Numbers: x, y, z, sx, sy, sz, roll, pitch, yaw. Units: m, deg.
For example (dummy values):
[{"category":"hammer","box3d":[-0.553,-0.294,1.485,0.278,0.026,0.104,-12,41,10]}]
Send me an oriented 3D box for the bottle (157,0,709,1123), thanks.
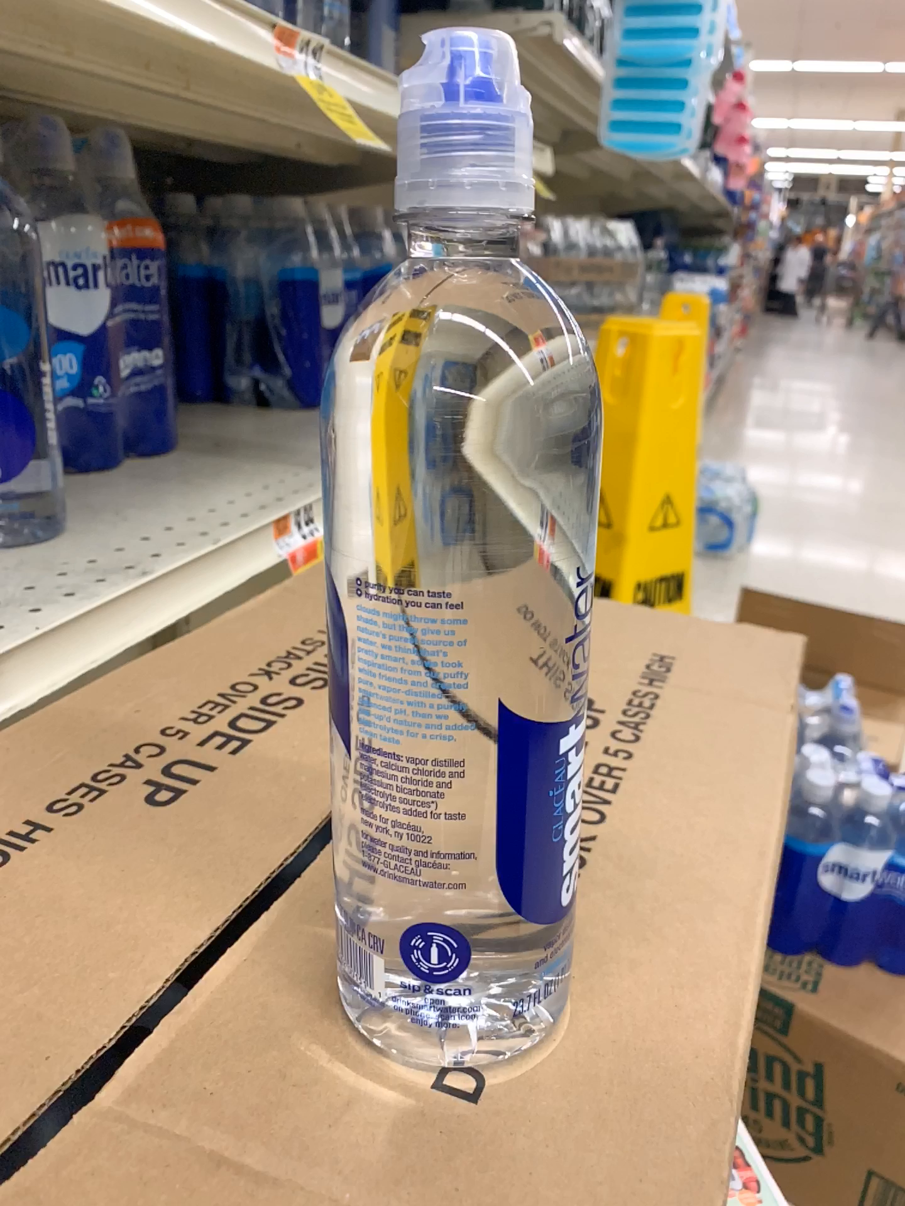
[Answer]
[{"category":"bottle","box3d":[-0.006,-0.008,0.249,0.090,0.249,0.090,3,20,-1]}]
